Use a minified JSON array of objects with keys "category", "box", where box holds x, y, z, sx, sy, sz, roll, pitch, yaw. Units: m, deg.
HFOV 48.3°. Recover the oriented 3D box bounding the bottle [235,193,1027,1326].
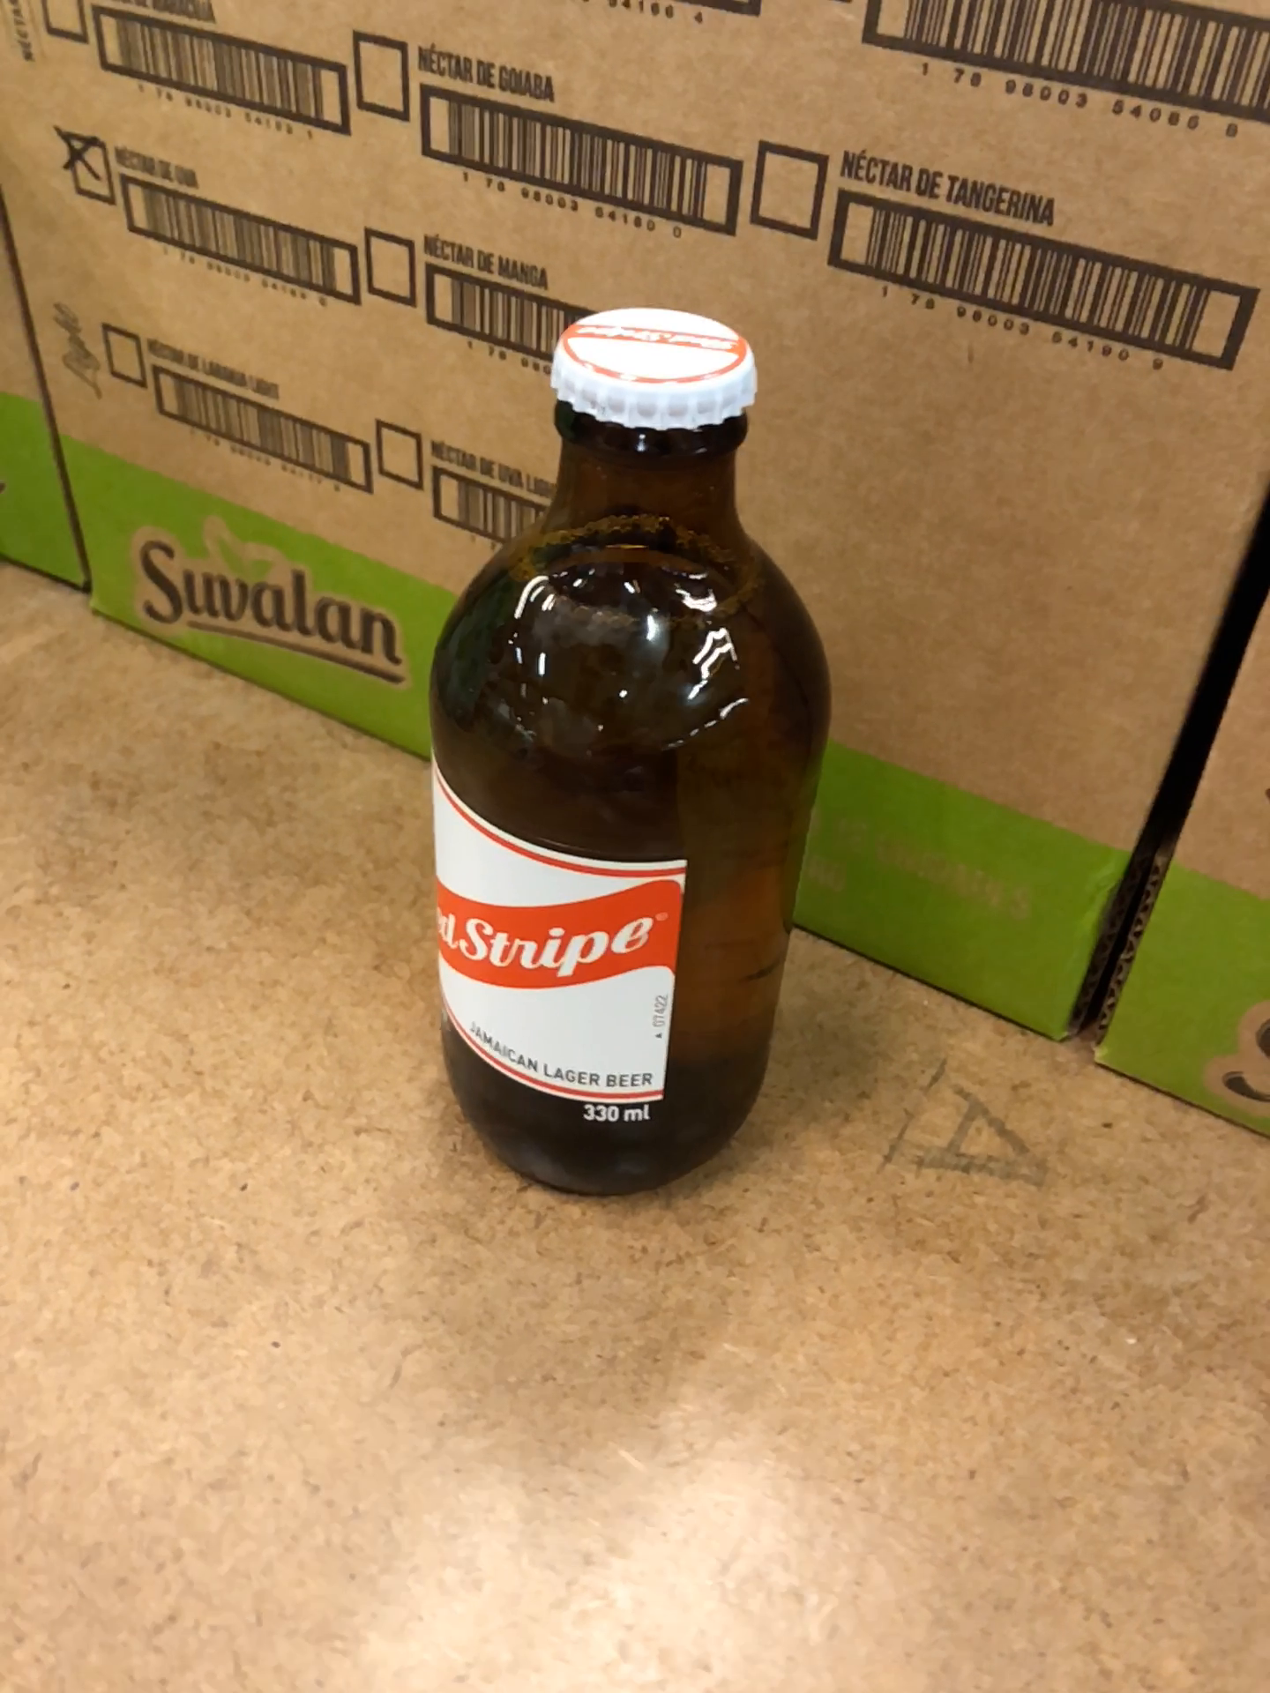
[{"category":"bottle","box":[-0.006,-0.011,0.240,0.070,0.159,0.080,-29,50,-33]}]
